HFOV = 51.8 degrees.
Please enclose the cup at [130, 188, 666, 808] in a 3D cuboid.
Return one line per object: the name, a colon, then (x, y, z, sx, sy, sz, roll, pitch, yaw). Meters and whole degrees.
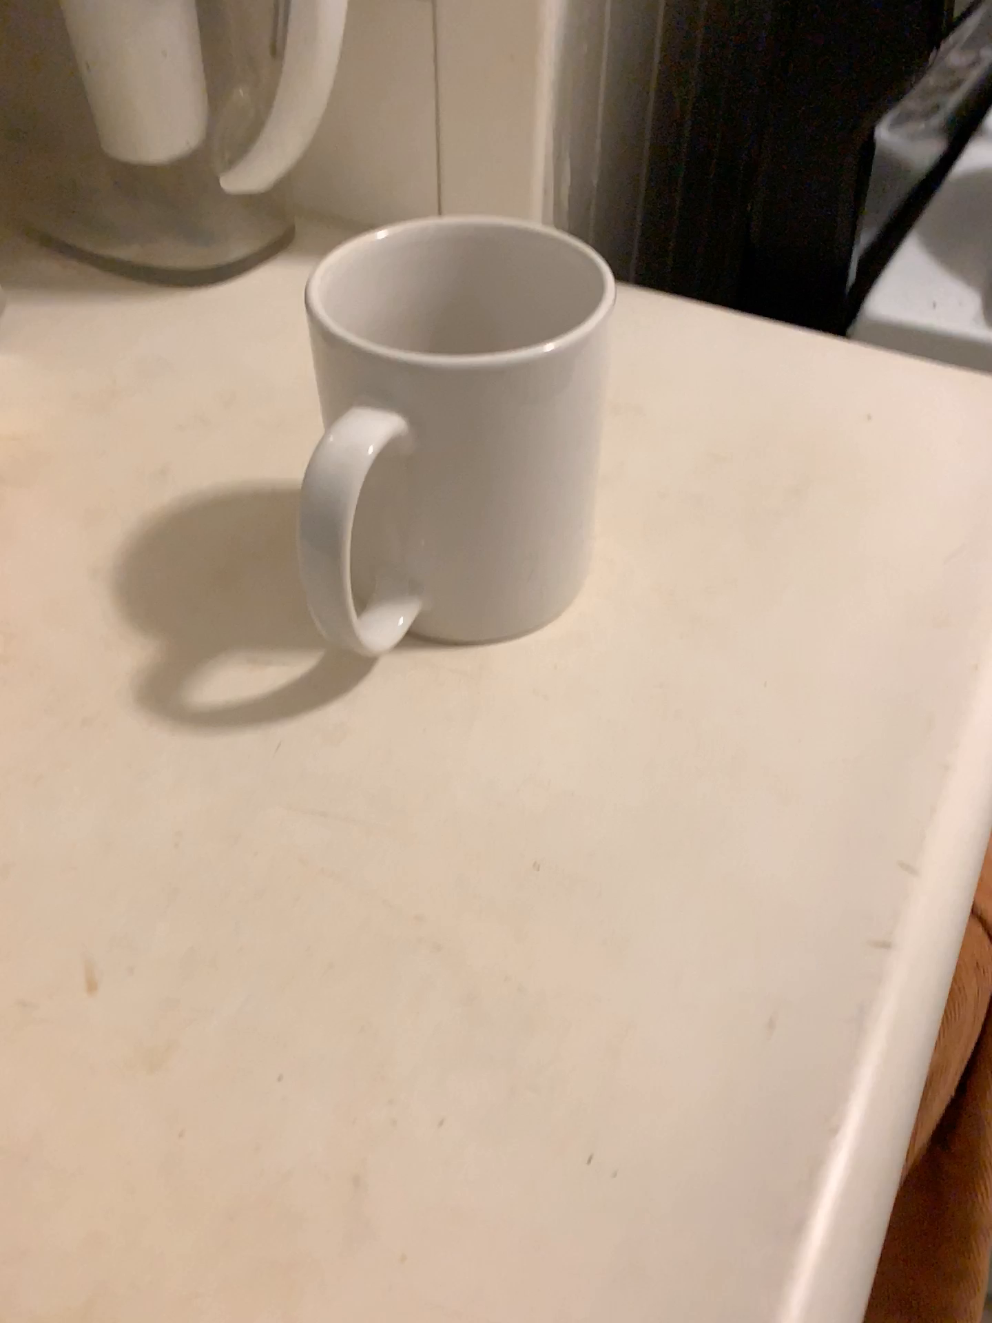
cup: (-0.017, -0.055, 0.309, 0.090, 0.109, 0.141, 16, 47, 15)
